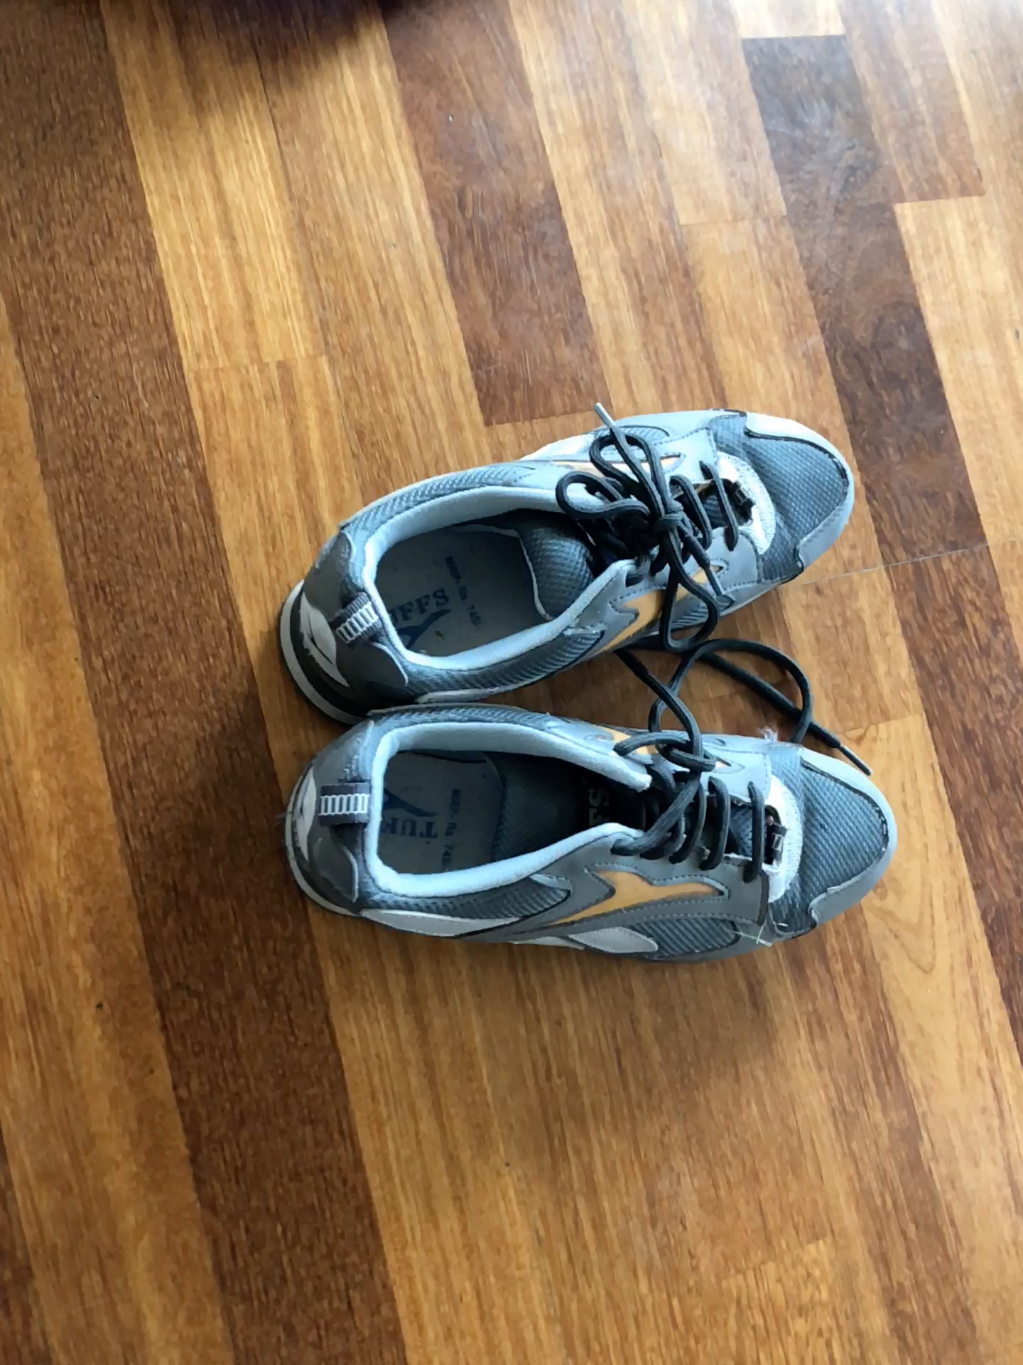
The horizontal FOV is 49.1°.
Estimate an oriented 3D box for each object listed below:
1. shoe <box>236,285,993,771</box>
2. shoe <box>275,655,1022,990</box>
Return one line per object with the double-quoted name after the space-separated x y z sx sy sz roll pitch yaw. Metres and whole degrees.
0.040 -0.066 0.475 0.283 0.099 0.112 -18 84 -18 "shoe"
0.055 0.060 0.449 0.283 0.088 0.110 3 78 -16 "shoe"
